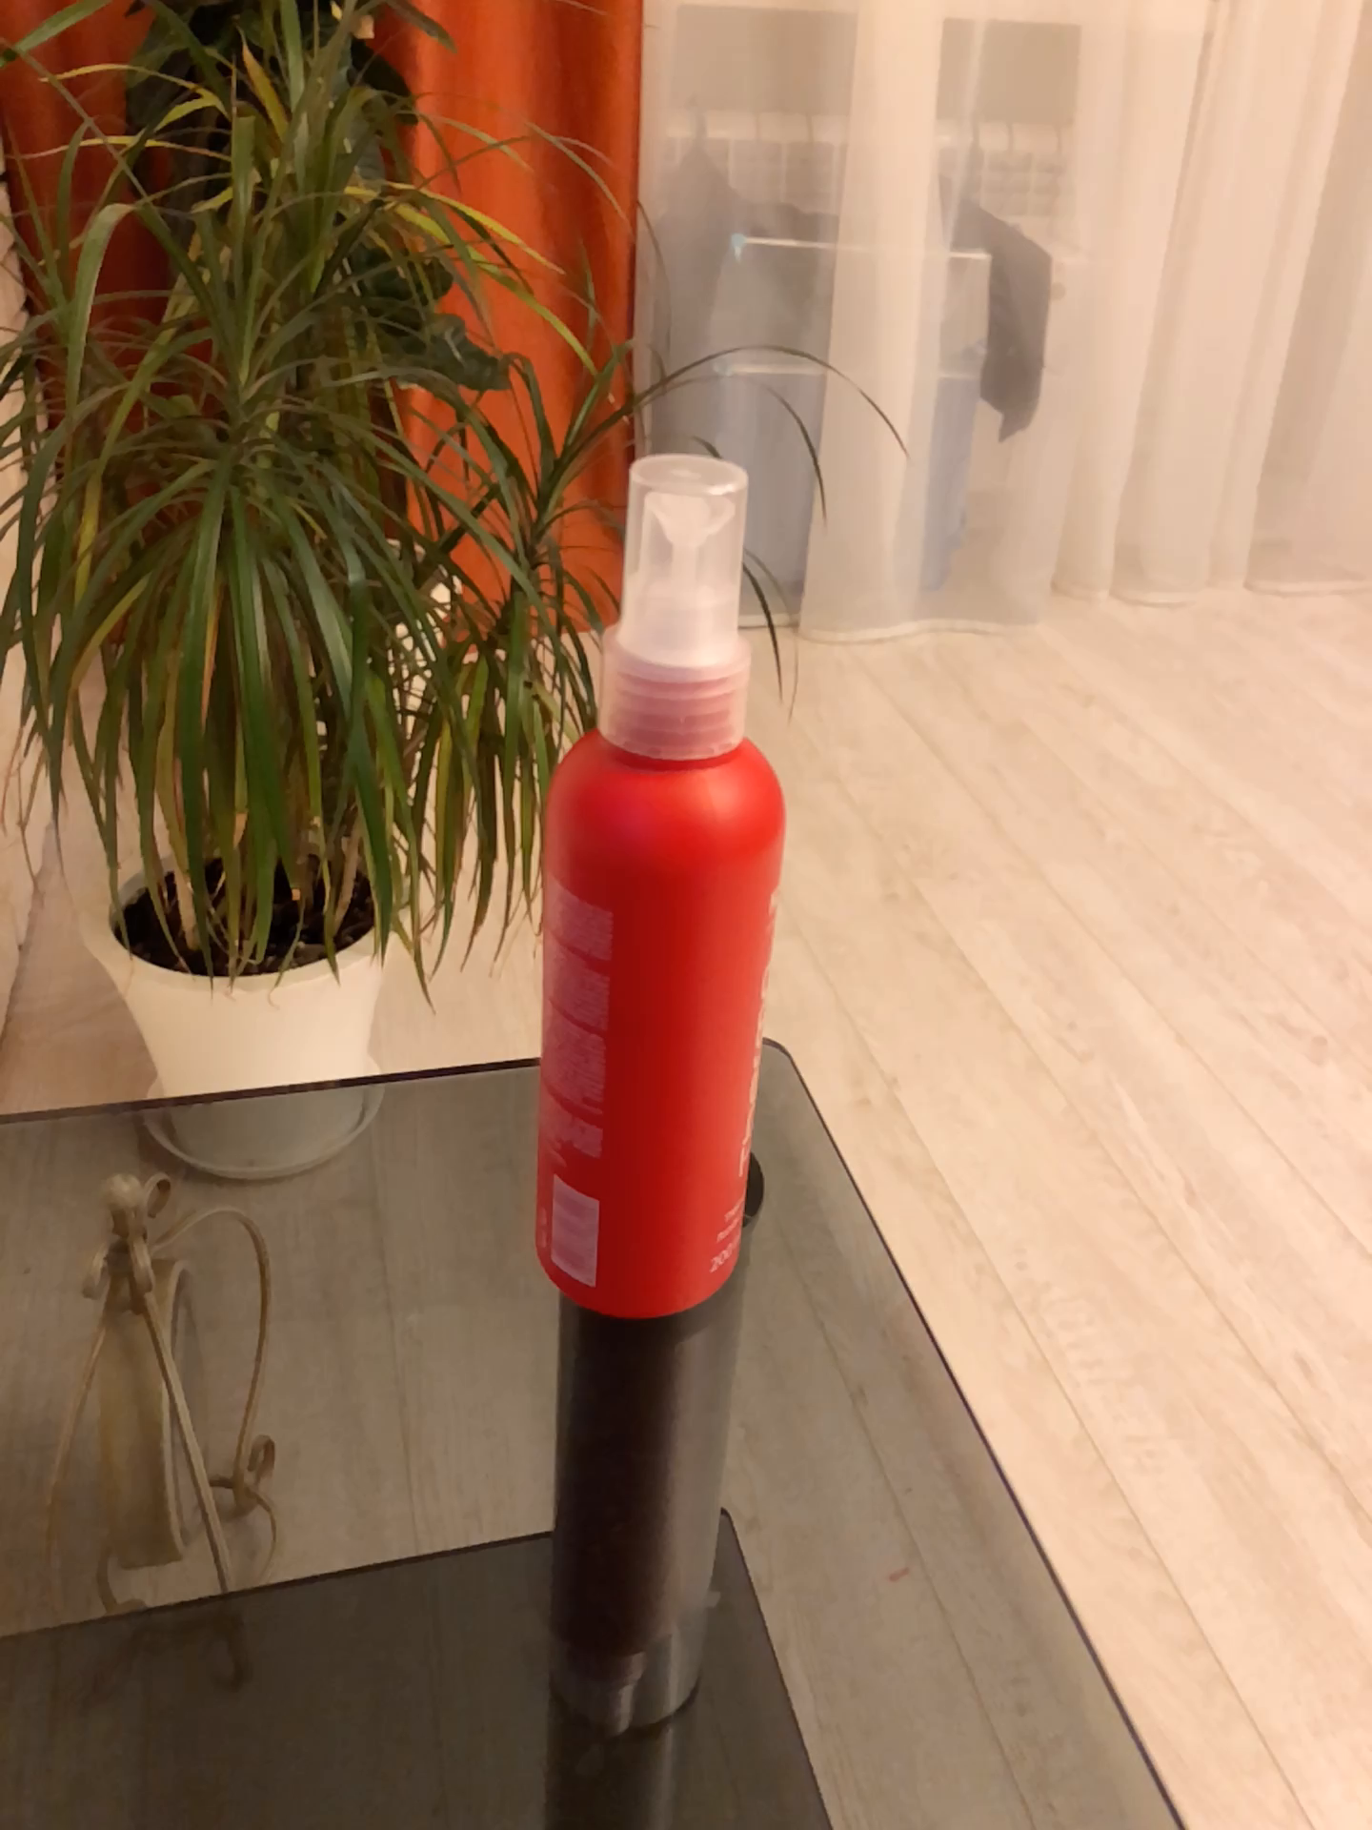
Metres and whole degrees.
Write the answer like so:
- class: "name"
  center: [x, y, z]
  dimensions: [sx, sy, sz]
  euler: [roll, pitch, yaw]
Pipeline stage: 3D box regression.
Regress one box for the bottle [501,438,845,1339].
- class: "bottle"
  center: [-0.009, 0.001, 0.304]
  dimensions: [0.052, 0.179, 0.048]
  euler: [3, 31, -2]
